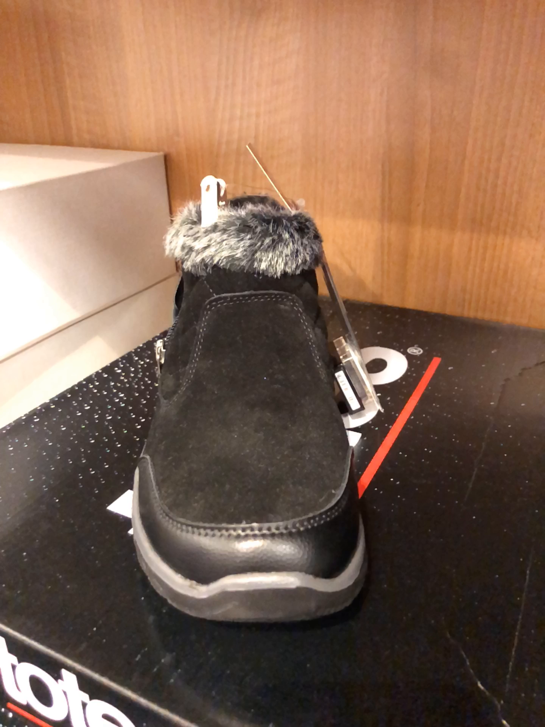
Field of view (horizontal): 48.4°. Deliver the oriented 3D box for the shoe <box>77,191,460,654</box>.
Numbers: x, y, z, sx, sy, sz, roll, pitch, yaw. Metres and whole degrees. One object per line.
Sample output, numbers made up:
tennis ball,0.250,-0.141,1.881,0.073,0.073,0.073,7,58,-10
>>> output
shoe,-0.008,-0.005,0.302,0.105,0.112,0.250,-2,26,-3
